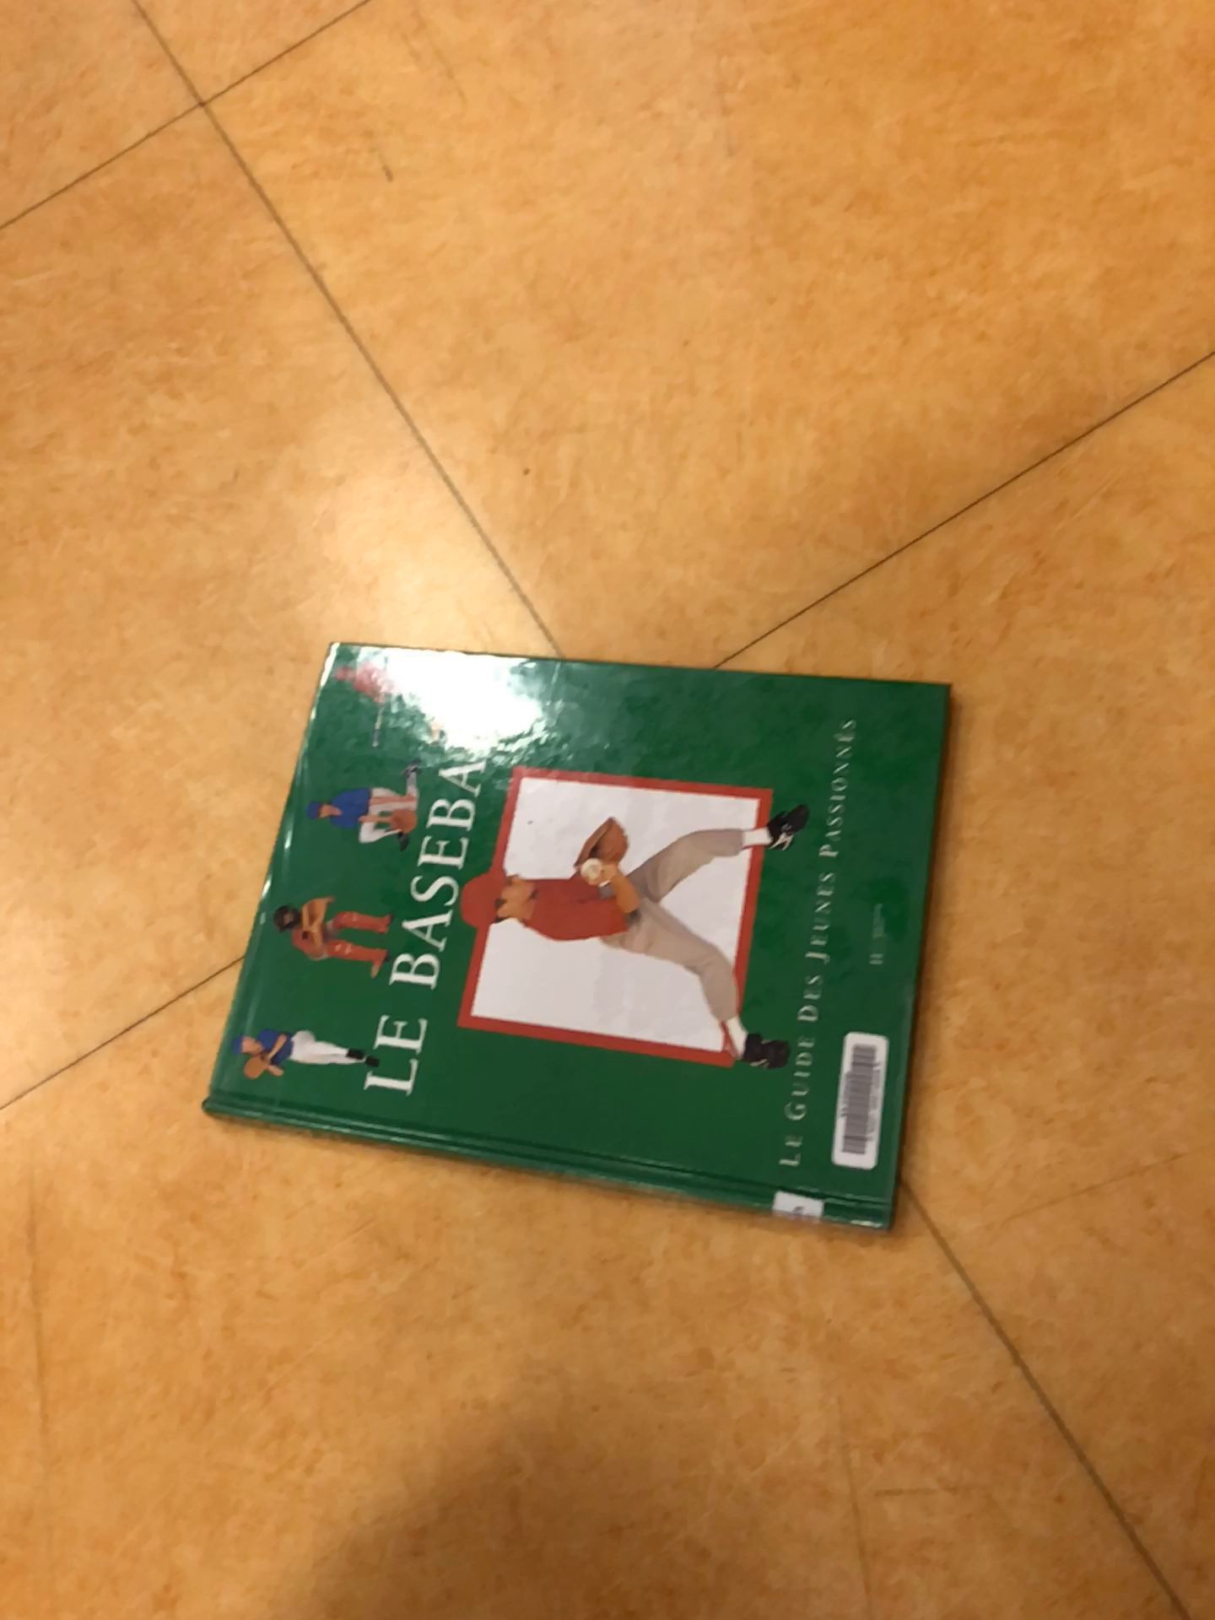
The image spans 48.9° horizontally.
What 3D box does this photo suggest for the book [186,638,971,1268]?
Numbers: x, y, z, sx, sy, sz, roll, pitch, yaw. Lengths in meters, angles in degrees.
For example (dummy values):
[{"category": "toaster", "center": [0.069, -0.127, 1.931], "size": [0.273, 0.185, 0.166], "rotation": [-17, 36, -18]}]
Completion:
[{"category": "book", "center": [-0.010, 0.042, 0.532], "size": [0.280, 0.020, 0.220], "rotation": [5, 71, 15]}]
